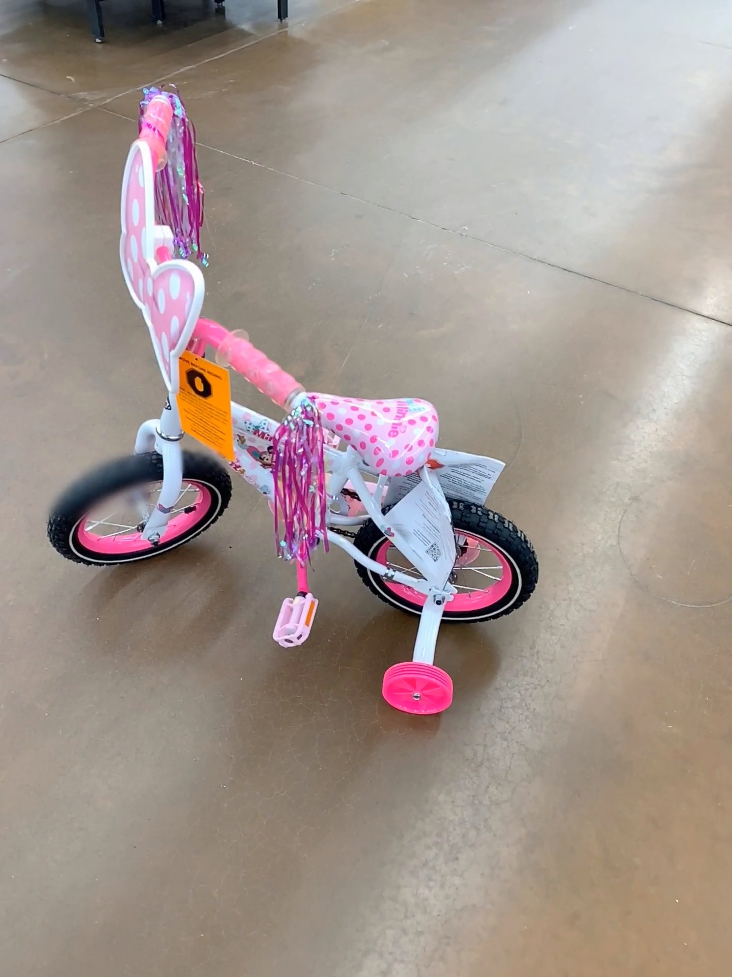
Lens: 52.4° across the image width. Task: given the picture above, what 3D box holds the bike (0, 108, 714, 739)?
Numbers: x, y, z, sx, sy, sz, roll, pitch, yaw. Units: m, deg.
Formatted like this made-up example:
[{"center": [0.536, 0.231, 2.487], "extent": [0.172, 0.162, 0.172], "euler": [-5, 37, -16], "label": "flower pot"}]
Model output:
[{"center": [-0.090, -0.079, 1.043], "extent": [0.724, 0.648, 0.503], "euler": [5, 46, 2], "label": "bike"}]
